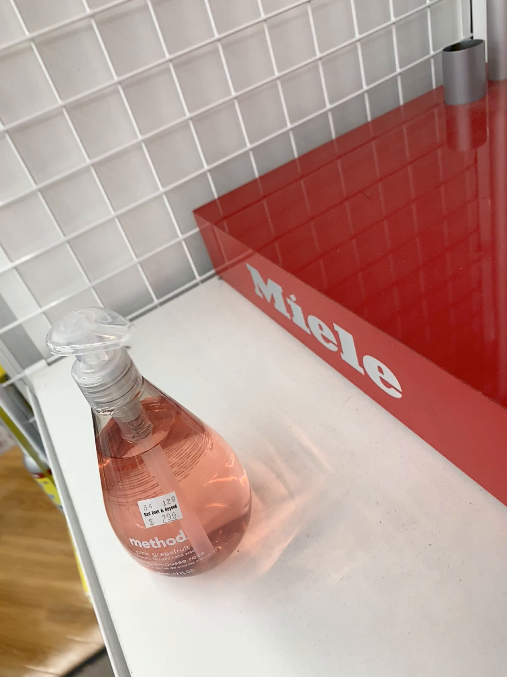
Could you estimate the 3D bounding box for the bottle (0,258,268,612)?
[{"bbox_3d":[-0.054,0.056,0.260,0.080,0.160,0.078,-13,36,10],"label":"bottle"}]
